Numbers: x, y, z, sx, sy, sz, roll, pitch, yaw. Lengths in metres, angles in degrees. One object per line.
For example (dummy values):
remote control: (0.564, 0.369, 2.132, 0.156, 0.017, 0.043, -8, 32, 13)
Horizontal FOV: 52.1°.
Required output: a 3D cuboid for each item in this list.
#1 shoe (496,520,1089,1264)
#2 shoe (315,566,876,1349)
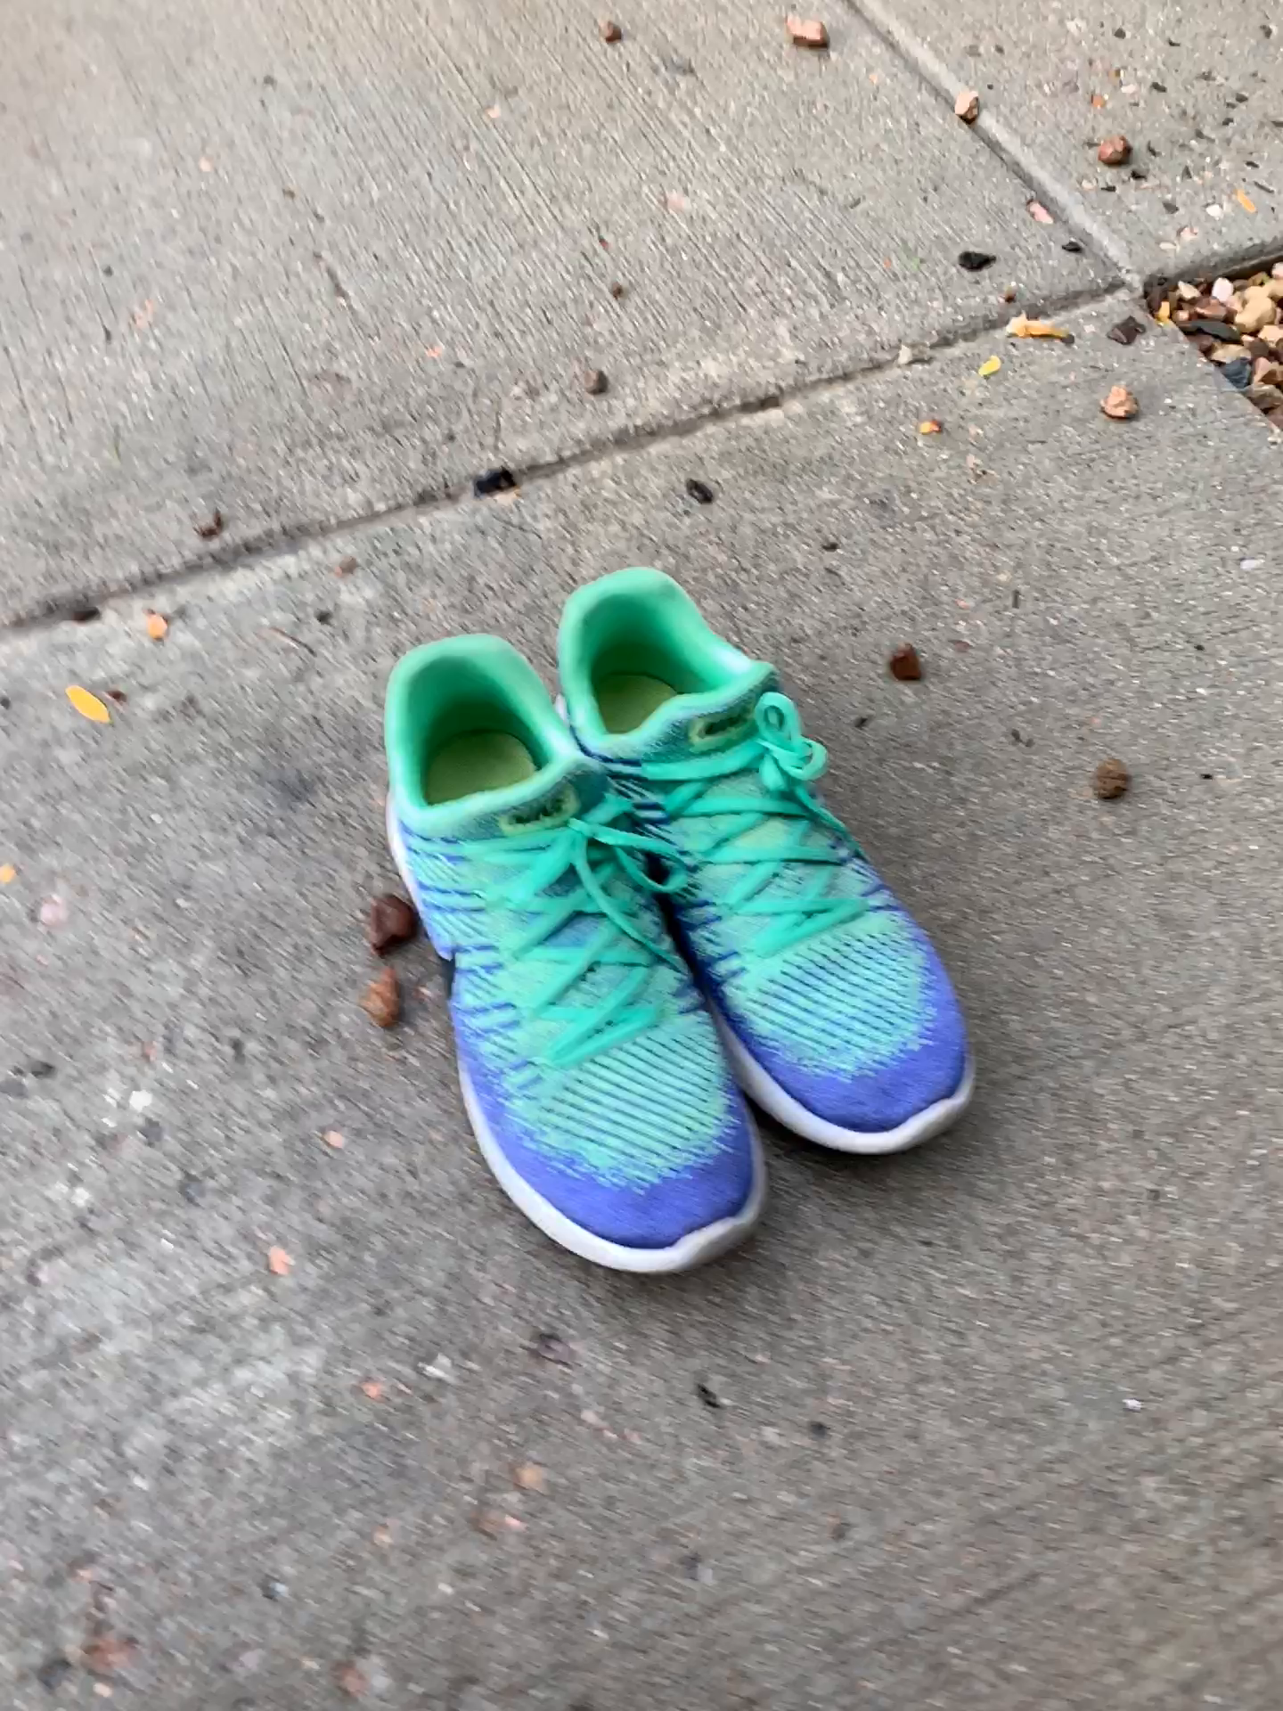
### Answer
shoe: (0.049, 0.010, 0.583, 0.120, 0.110, 0.290, -22, 66, -13)
shoe: (-0.032, 0.033, 0.517, 0.100, 0.110, 0.270, -19, 65, -18)
